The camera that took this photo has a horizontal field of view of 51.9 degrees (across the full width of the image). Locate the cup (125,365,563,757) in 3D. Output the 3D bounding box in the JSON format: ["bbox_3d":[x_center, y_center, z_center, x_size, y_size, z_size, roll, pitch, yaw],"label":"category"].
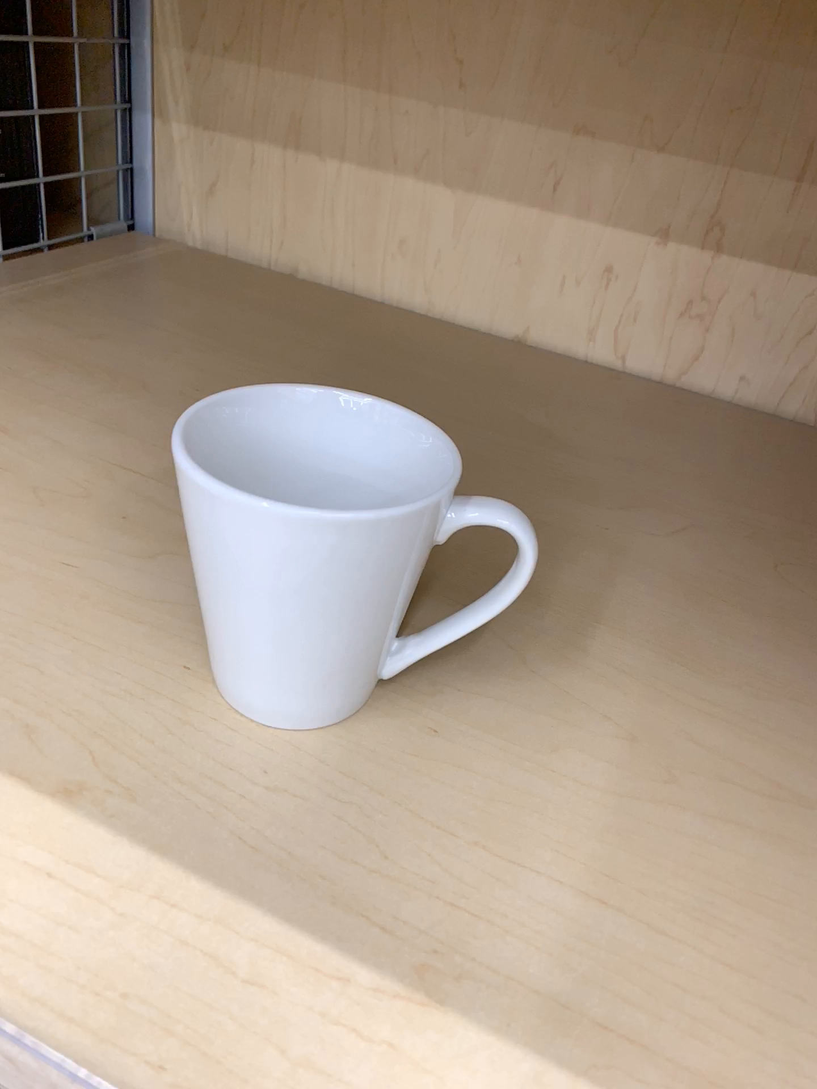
[{"bbox_3d":[-0.023,0.004,0.309,0.128,0.090,0.094,7,35,-4],"label":"cup"}]
